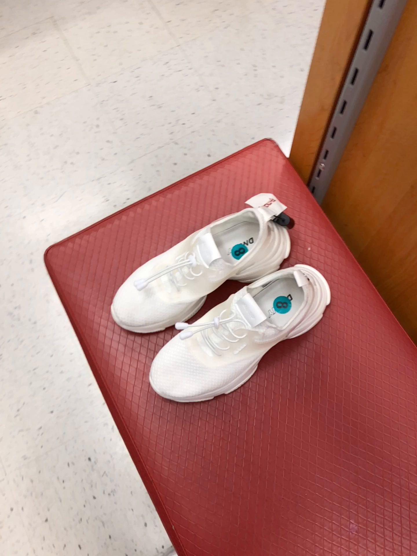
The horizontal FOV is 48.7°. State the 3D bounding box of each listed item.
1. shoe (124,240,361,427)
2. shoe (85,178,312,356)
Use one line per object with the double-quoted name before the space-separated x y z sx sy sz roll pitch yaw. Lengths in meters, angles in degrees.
"shoe" 0.044 0.079 0.624 0.277 0.110 0.109 -29 73 -8
"shoe" -0.012 -0.012 0.657 0.277 0.110 0.112 -27 73 -7
